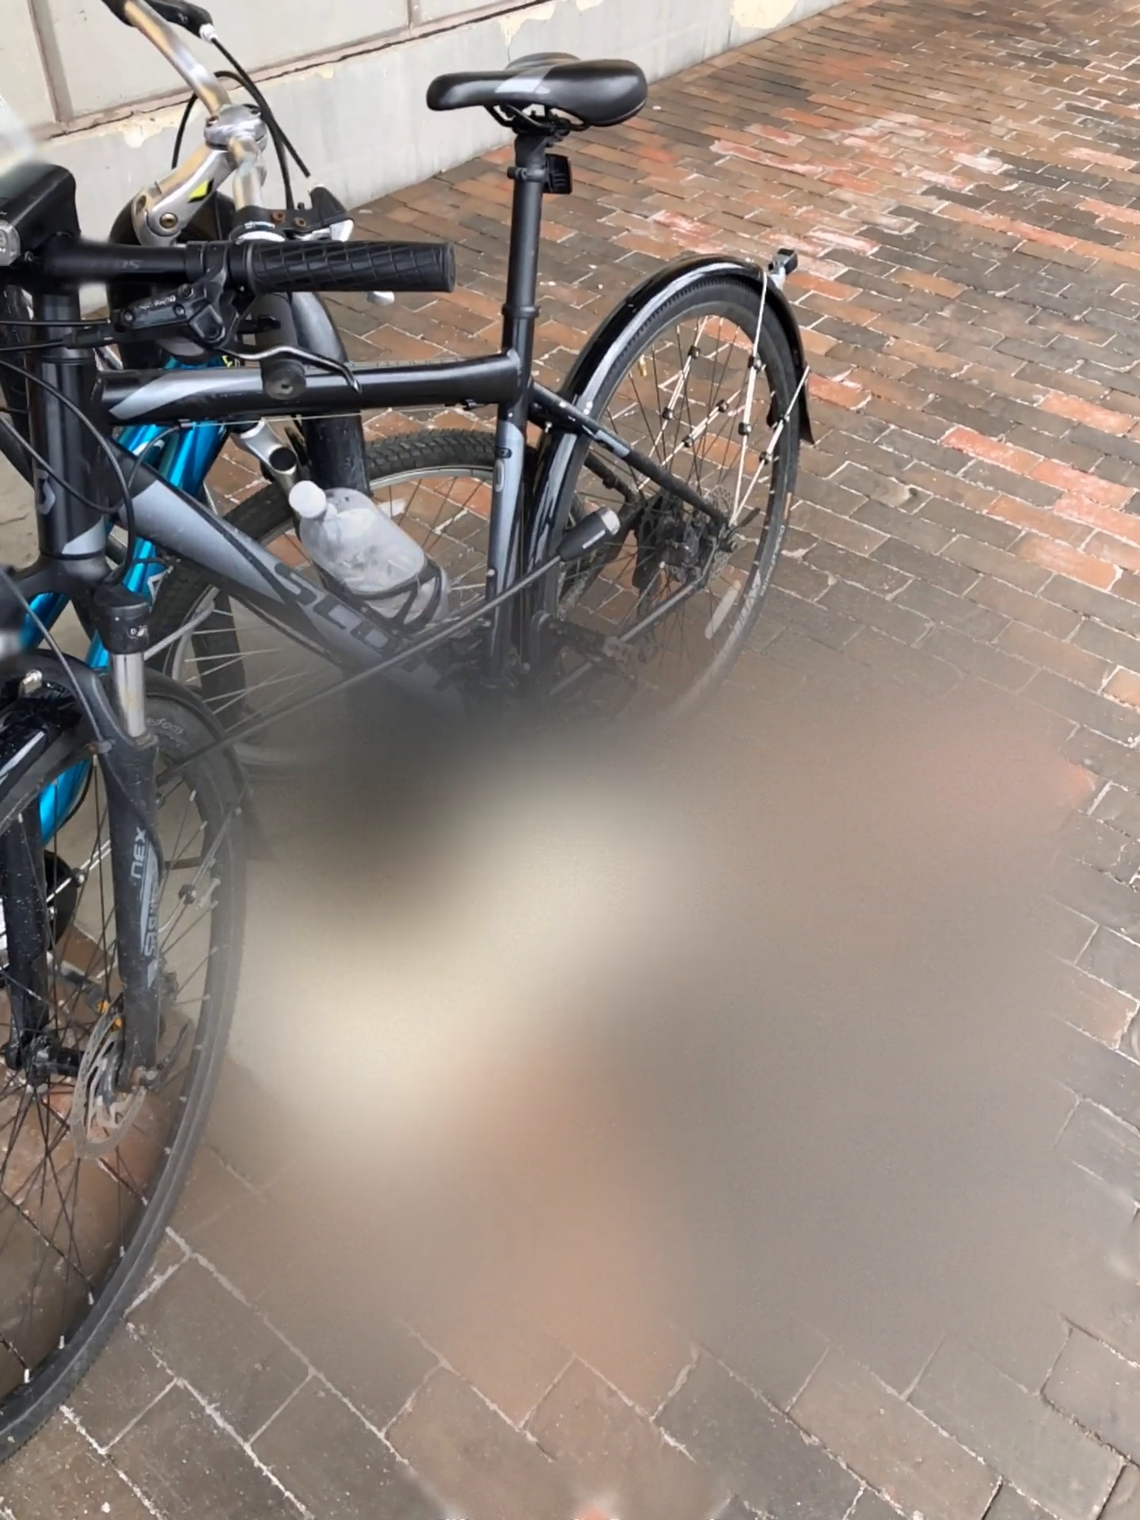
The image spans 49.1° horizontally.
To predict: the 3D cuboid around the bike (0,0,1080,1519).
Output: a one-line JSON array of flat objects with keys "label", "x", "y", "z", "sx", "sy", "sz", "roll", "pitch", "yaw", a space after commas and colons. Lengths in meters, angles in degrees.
[{"label": "bike", "x": -0.174, "y": -0.127, "z": 1.233, "sx": 0.673, "sy": 0.940, "sz": 1.517, "roll": 24, "pitch": 51, "yaw": 21}]
